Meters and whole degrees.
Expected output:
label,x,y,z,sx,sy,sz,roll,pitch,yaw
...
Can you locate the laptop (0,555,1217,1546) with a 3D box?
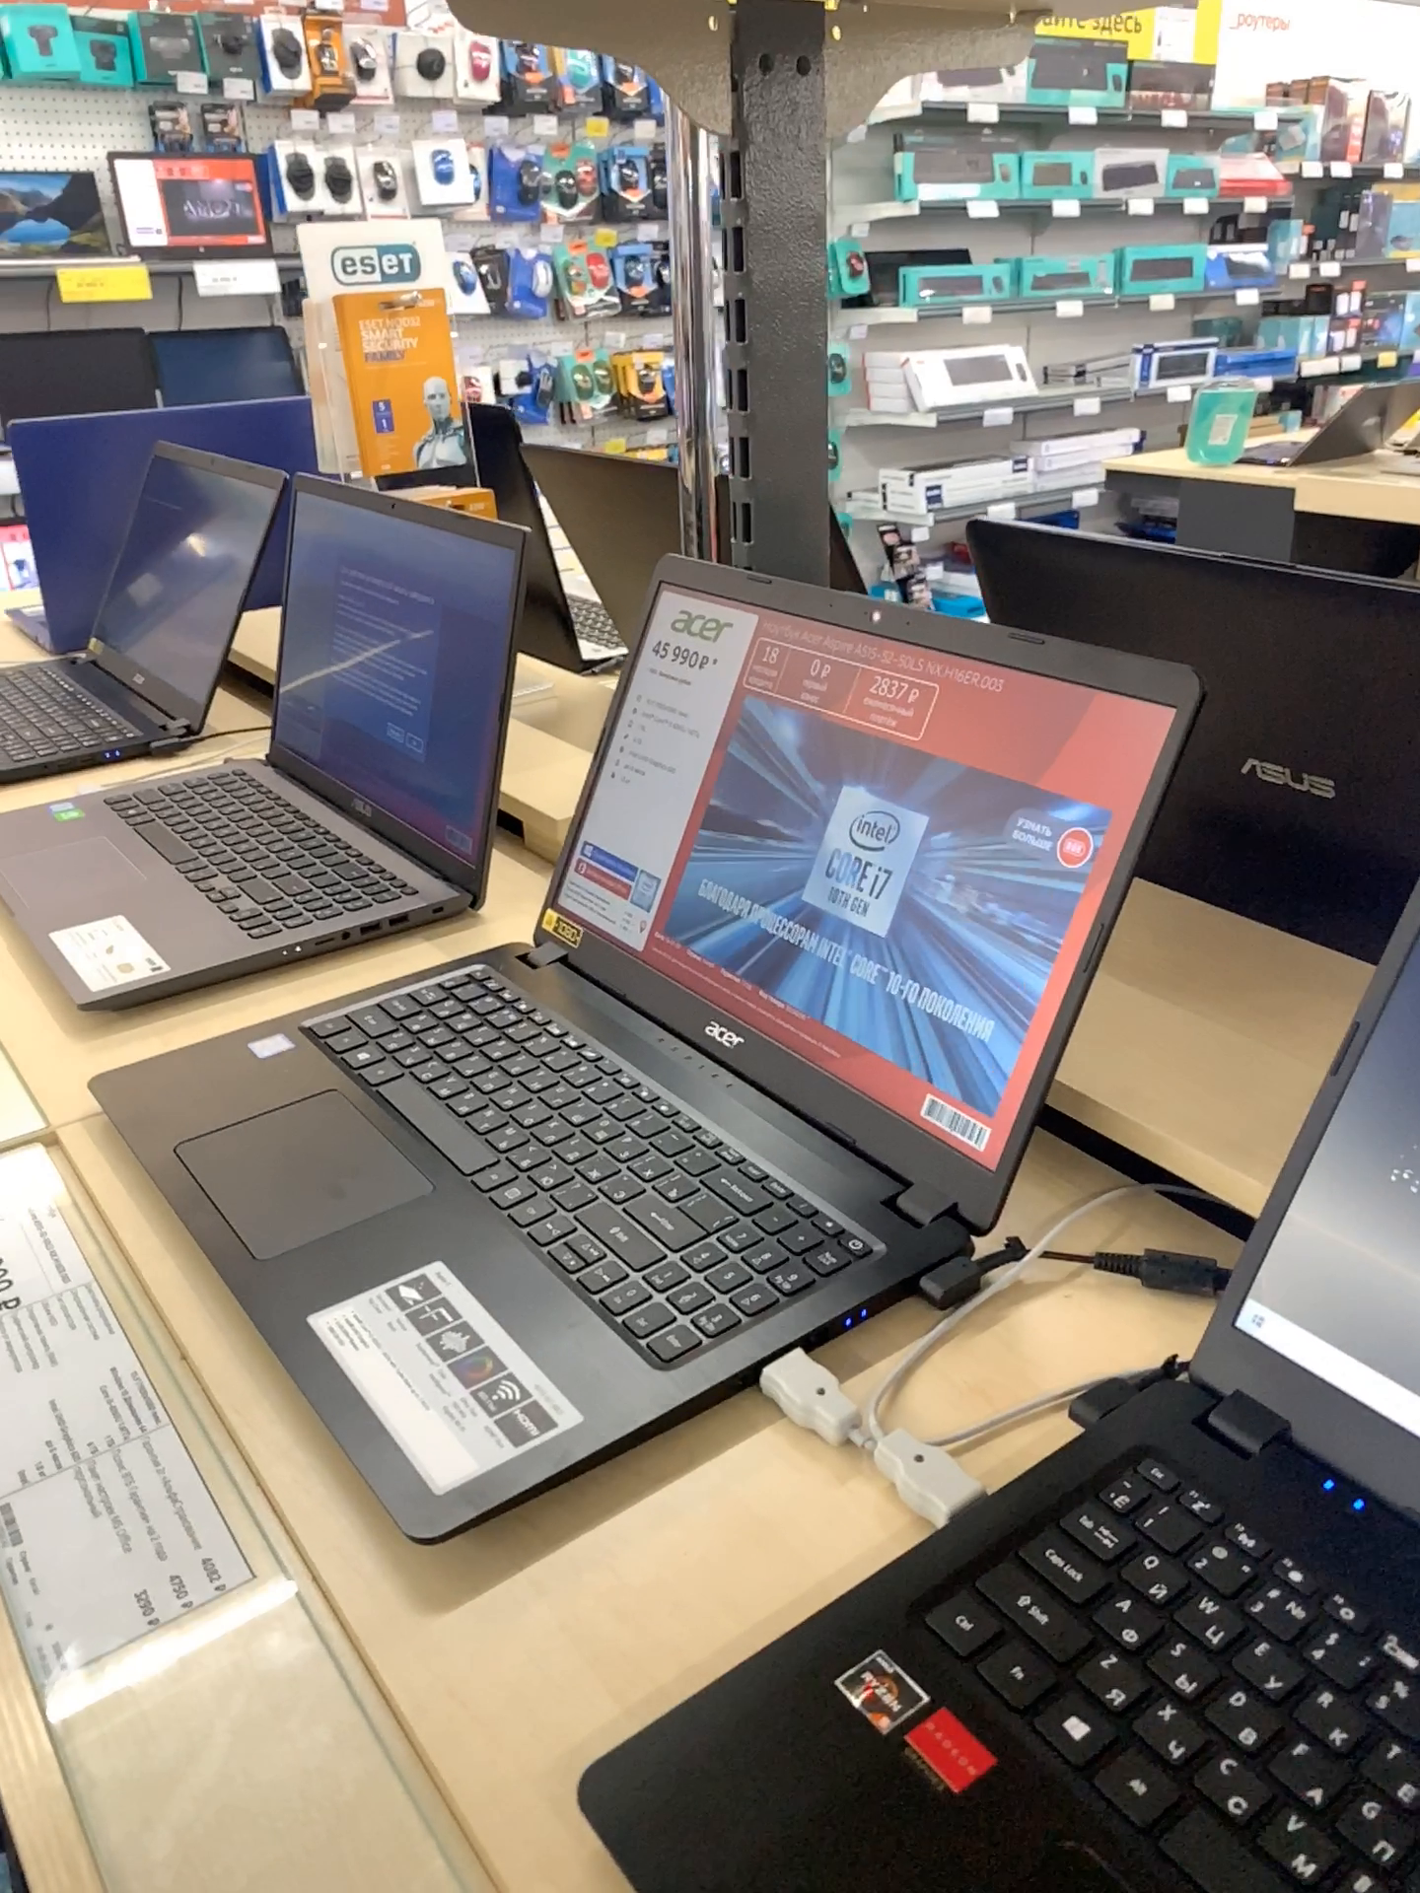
label,x,y,z,sx,sy,sz,roll,pitch,yaw
laptop,-0.056,-0.020,0.641,0.364,0.208,0.370,-19,29,-32
